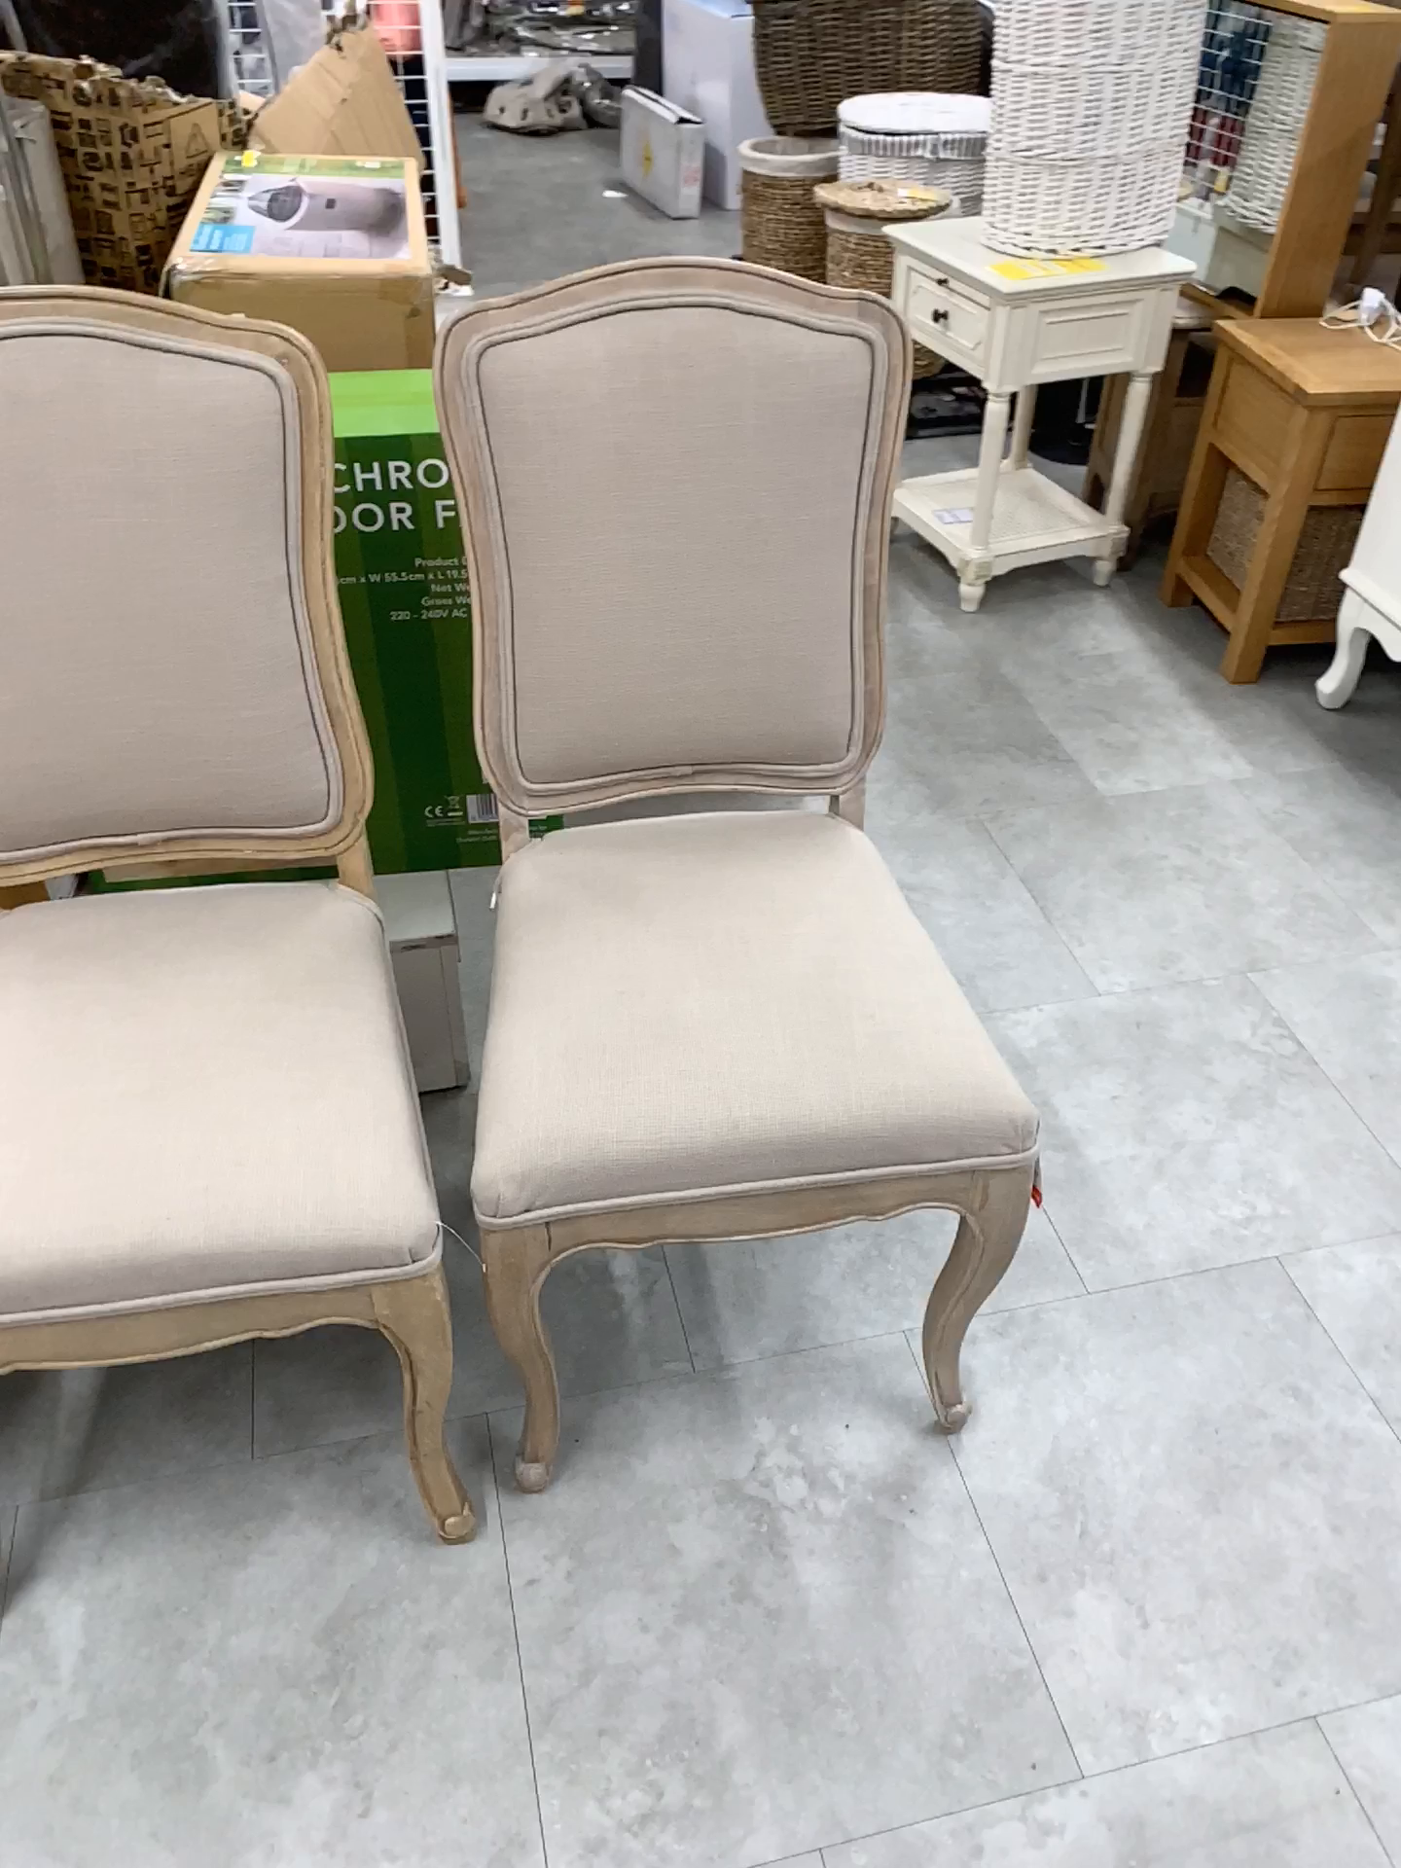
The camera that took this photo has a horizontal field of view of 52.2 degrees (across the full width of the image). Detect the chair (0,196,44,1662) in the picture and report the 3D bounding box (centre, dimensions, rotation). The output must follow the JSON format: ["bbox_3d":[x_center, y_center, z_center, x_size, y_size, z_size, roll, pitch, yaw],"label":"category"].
[{"bbox_3d":[-0.978,0.035,1.115,0.506,0.973,0.550,-5,40,-6],"label":"chair"}]

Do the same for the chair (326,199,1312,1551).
[{"bbox_3d":[0.021,-0.020,1.236,0.507,0.973,0.550,-8,41,-9],"label":"chair"}]

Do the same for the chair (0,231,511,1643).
[{"bbox_3d":[-0.459,0.040,1.157,0.506,0.973,0.550,-5,40,-6],"label":"chair"}]
